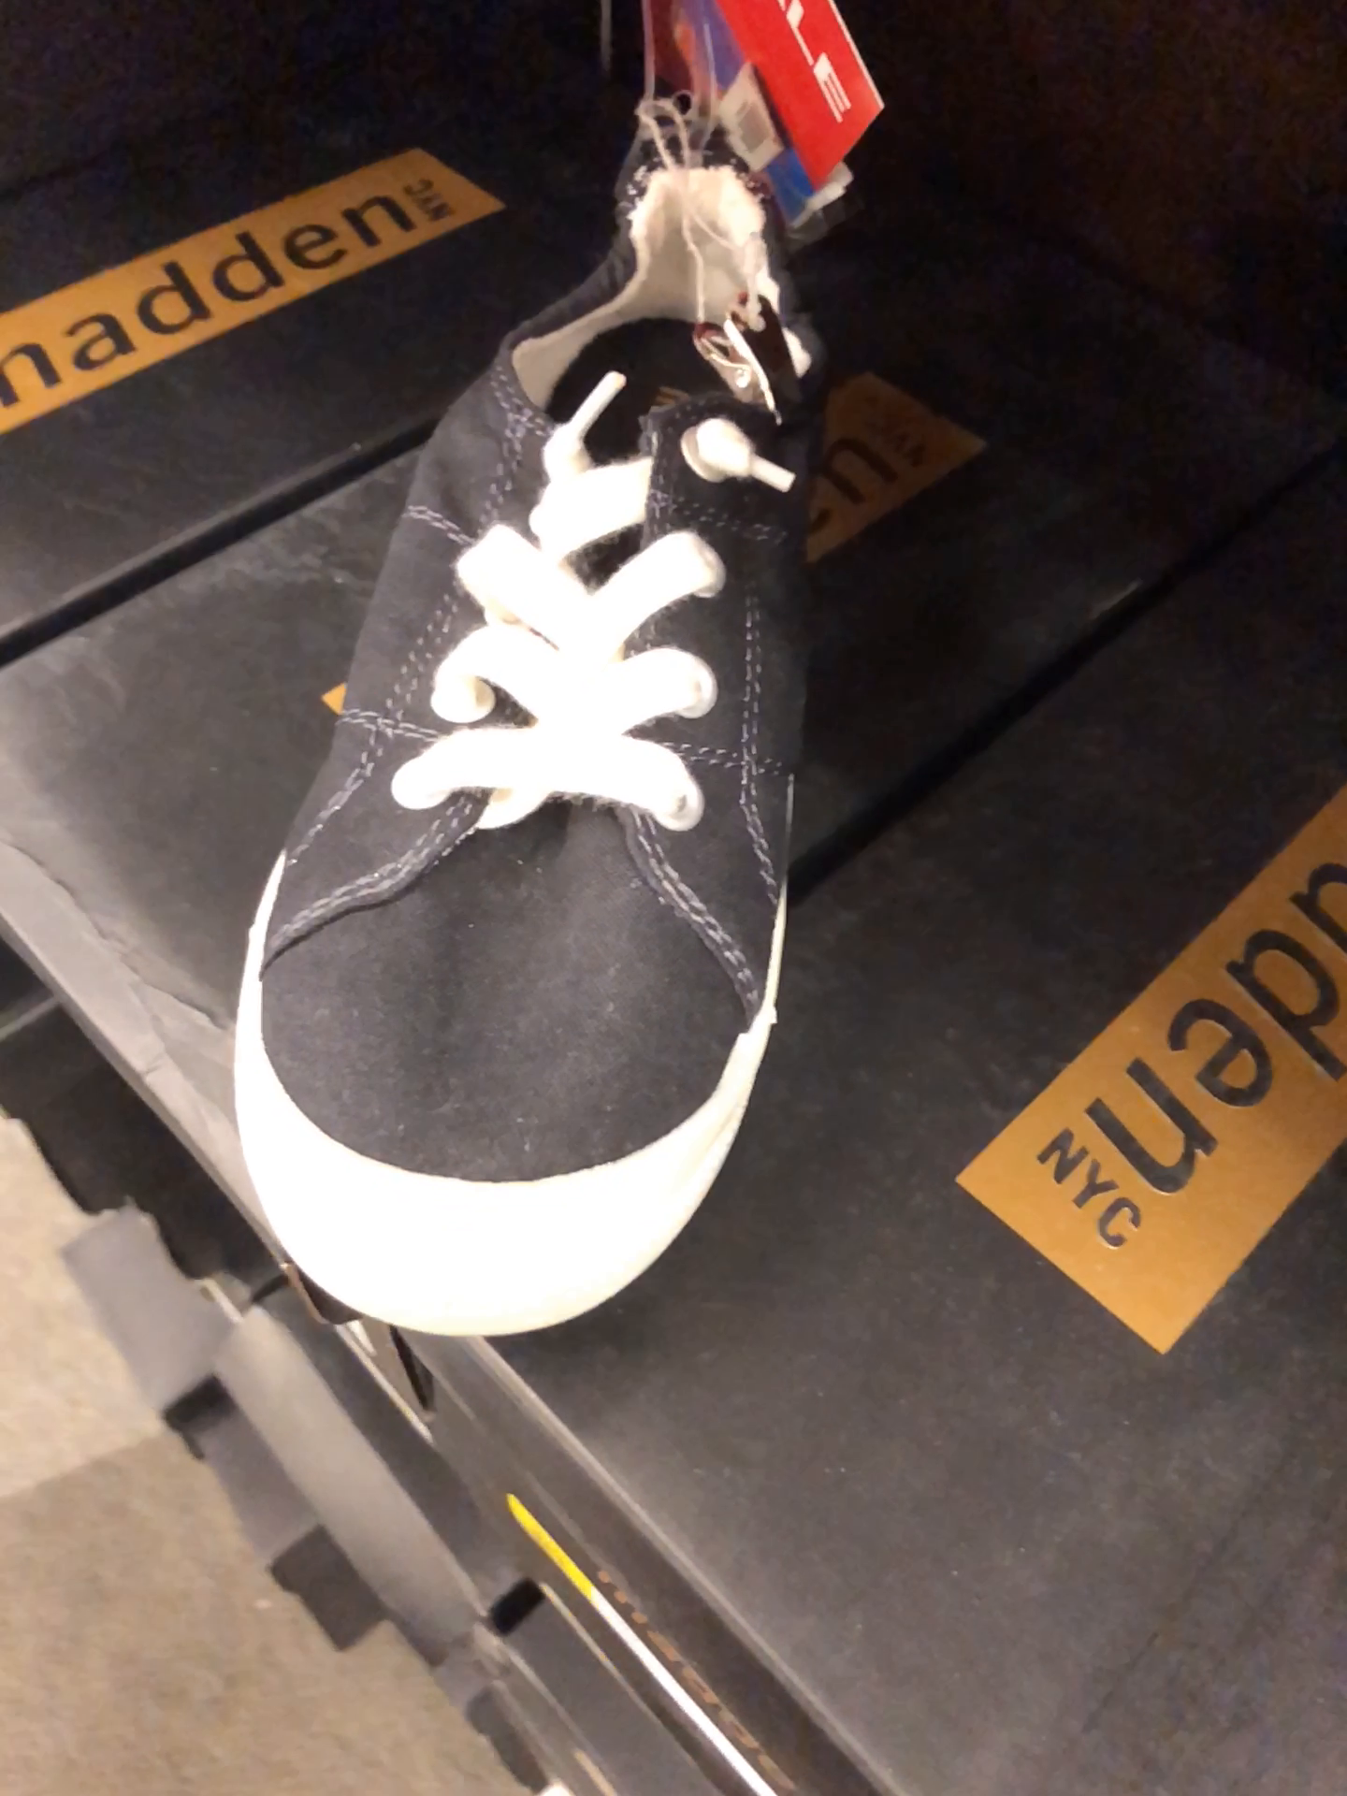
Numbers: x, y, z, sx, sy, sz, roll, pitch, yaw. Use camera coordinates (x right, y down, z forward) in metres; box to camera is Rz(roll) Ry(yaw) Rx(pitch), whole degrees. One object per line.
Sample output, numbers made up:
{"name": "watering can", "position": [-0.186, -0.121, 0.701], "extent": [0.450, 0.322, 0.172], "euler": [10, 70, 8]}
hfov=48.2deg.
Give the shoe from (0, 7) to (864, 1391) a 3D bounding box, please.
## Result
{"name": "shoe", "position": [-0.018, -0.052, 0.254], "extent": [0.080, 0.082, 0.235], "euler": [6, 53, 2]}
